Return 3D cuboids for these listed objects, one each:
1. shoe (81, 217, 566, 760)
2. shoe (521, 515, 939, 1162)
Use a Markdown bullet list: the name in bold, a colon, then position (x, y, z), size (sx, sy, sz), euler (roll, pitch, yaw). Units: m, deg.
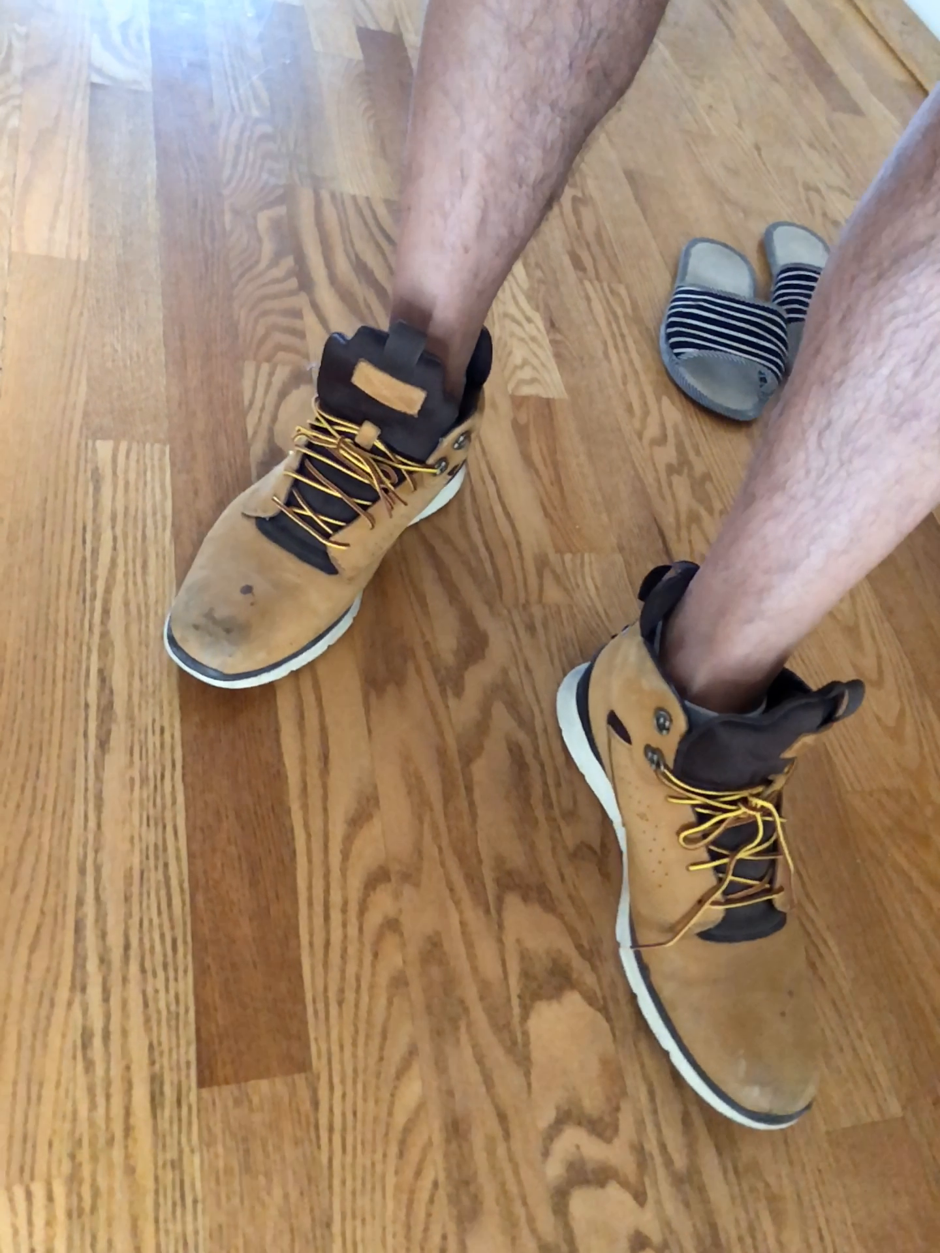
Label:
- **shoe**: position (-0.080, -0.096, 0.628), size (0.120, 0.149, 0.311), euler (32, 50, 4)
- **shoe**: position (0.142, 0.098, 0.544), size (0.120, 0.139, 0.291), euler (-2, 56, -22)
